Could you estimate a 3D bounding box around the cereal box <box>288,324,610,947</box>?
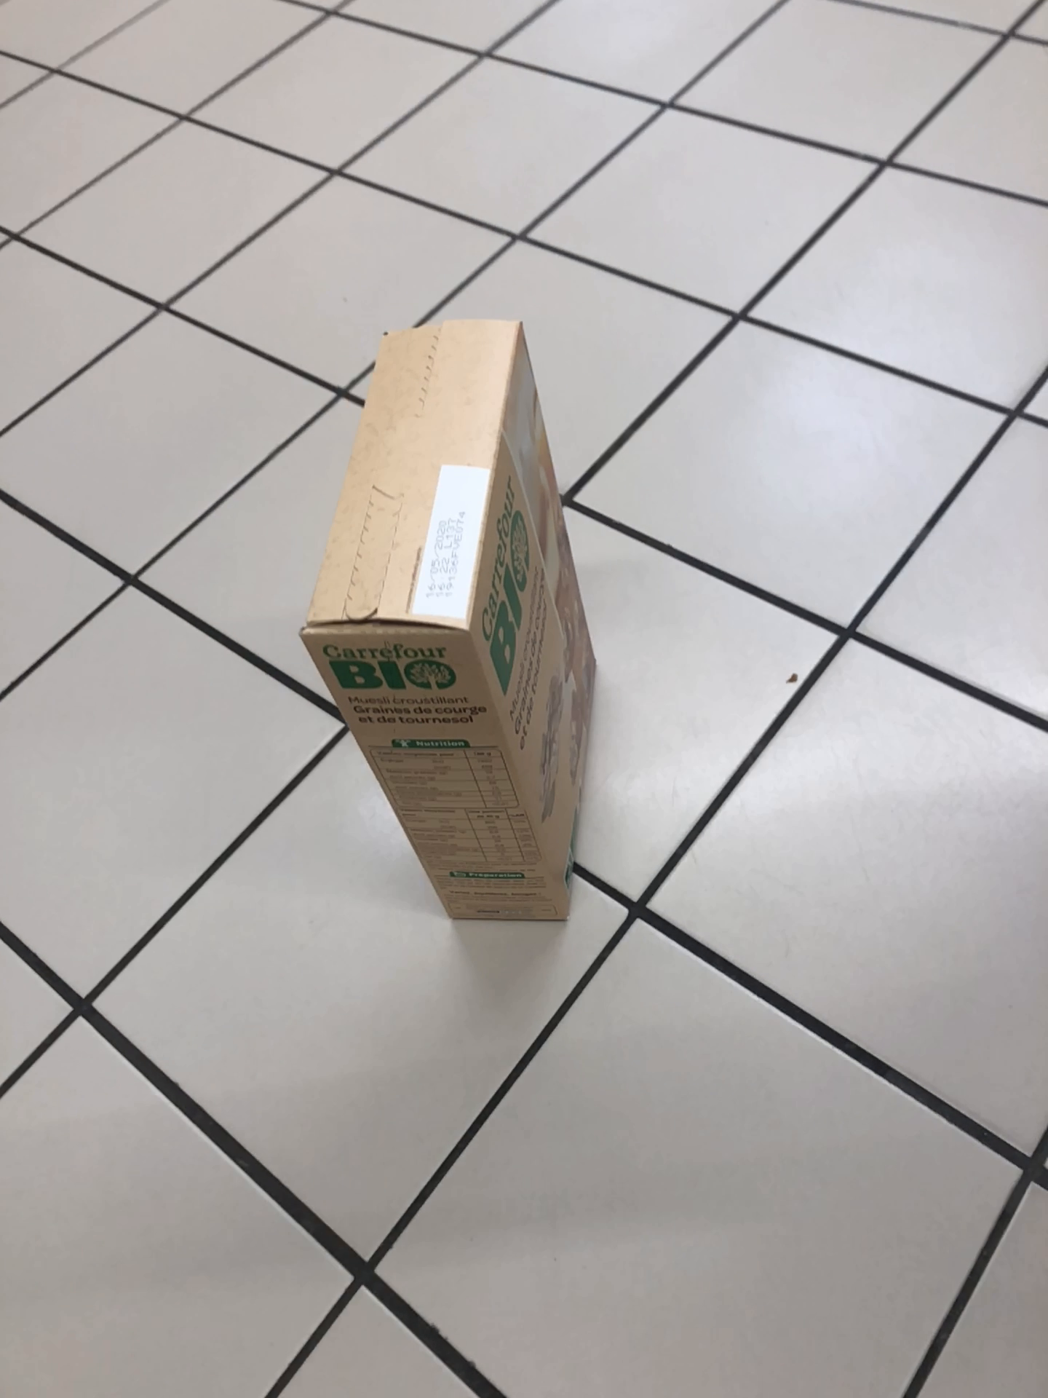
[{"bbox_3d":[-0.015,-0.016,0.516,0.070,0.229,0.171,1,56,12],"label":"cereal box"}]
